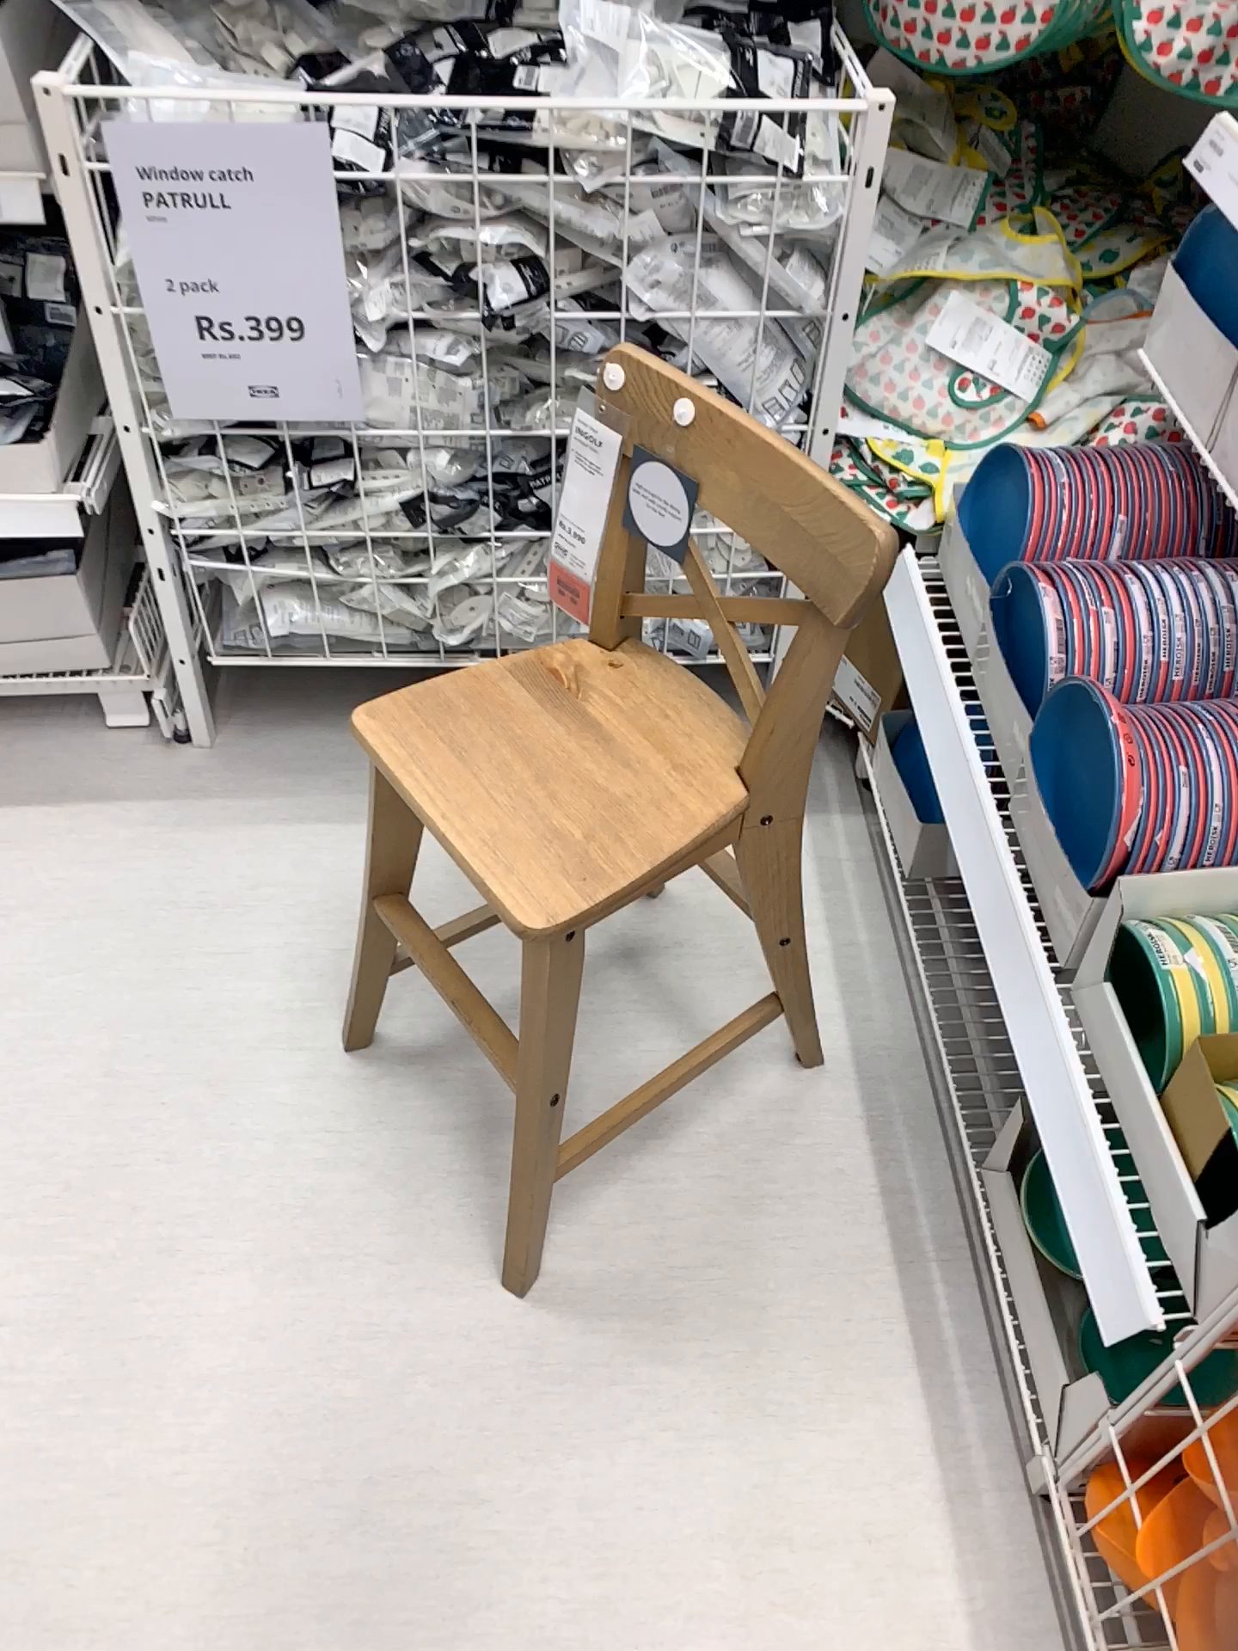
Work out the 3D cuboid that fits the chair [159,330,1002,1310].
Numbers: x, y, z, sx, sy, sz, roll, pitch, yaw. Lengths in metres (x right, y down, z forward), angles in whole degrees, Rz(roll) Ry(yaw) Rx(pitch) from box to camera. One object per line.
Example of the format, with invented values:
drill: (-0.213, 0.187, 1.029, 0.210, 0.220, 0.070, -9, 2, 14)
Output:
chair: (-0.037, 0.018, 1.147, 0.460, 0.688, 0.381, -30, 56, -26)
